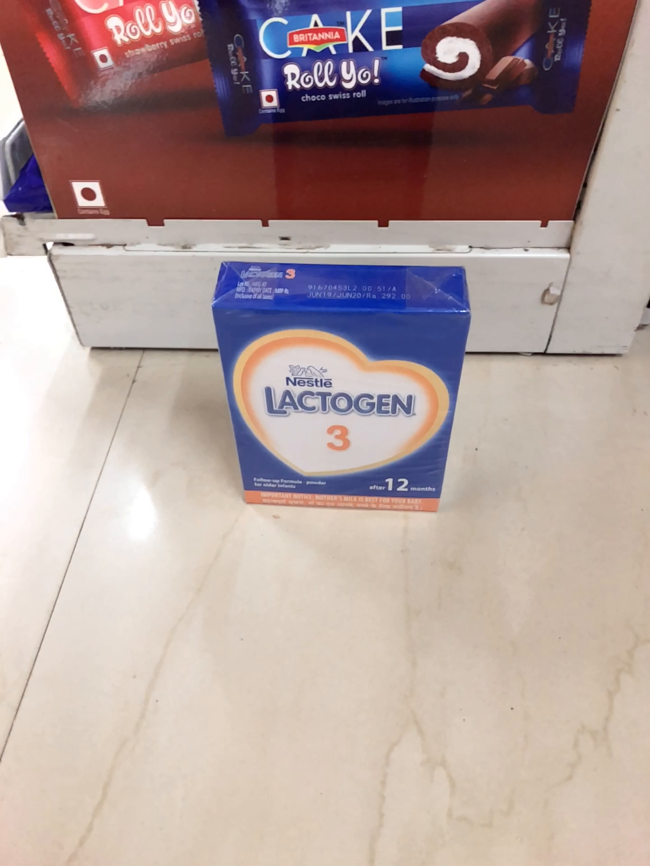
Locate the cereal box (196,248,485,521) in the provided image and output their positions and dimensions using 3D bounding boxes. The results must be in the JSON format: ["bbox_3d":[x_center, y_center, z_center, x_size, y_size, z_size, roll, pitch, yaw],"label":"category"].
[{"bbox_3d":[0.013,-0.025,0.486,0.160,0.189,0.060,3,48,5],"label":"cereal box"}]
